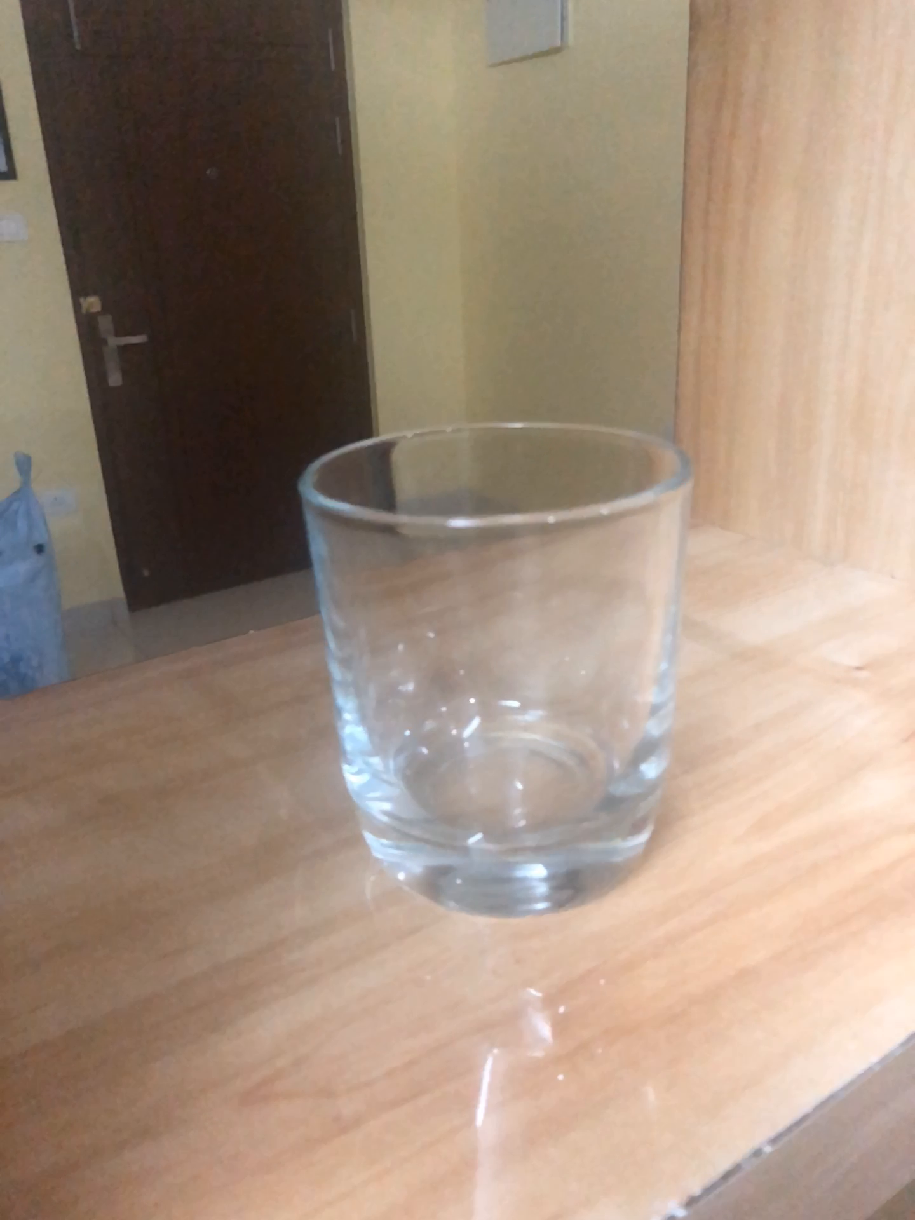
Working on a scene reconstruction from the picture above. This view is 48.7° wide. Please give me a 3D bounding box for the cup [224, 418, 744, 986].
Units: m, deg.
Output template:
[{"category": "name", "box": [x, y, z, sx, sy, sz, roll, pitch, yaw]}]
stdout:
[{"category": "cup", "box": [0.002, 0.013, 0.225, 0.090, 0.090, 0.080, -6, 22, -8]}]
